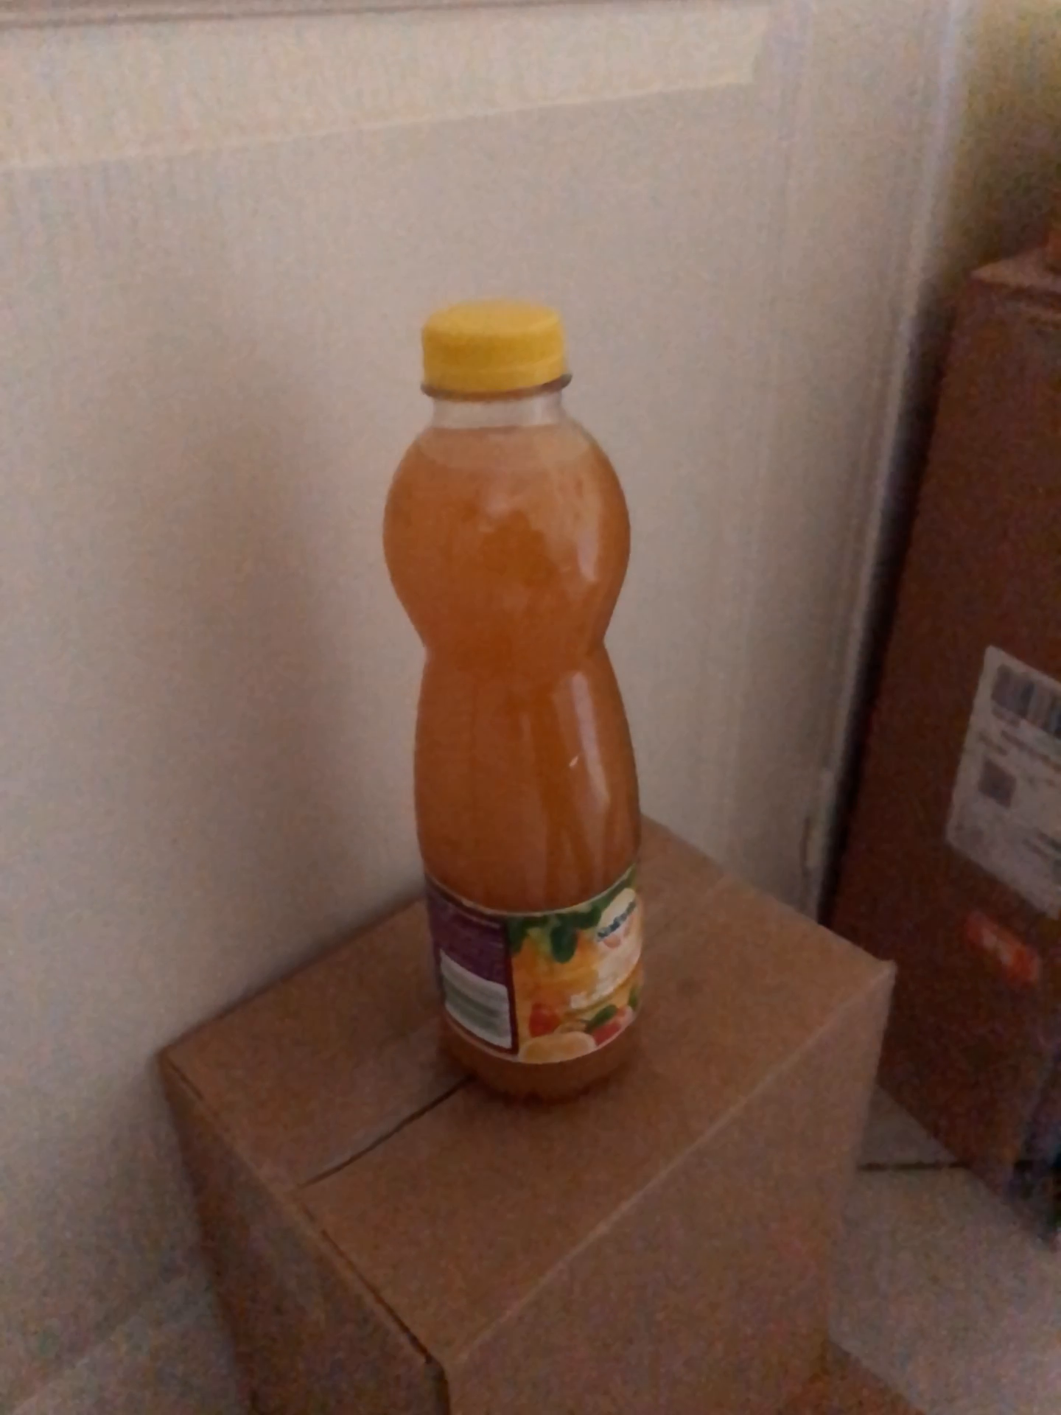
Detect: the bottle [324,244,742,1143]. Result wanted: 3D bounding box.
[{"bbox_3d":[0.002,0.006,0.386,0.080,0.278,0.081,0,33,0],"label":"bottle"}]
